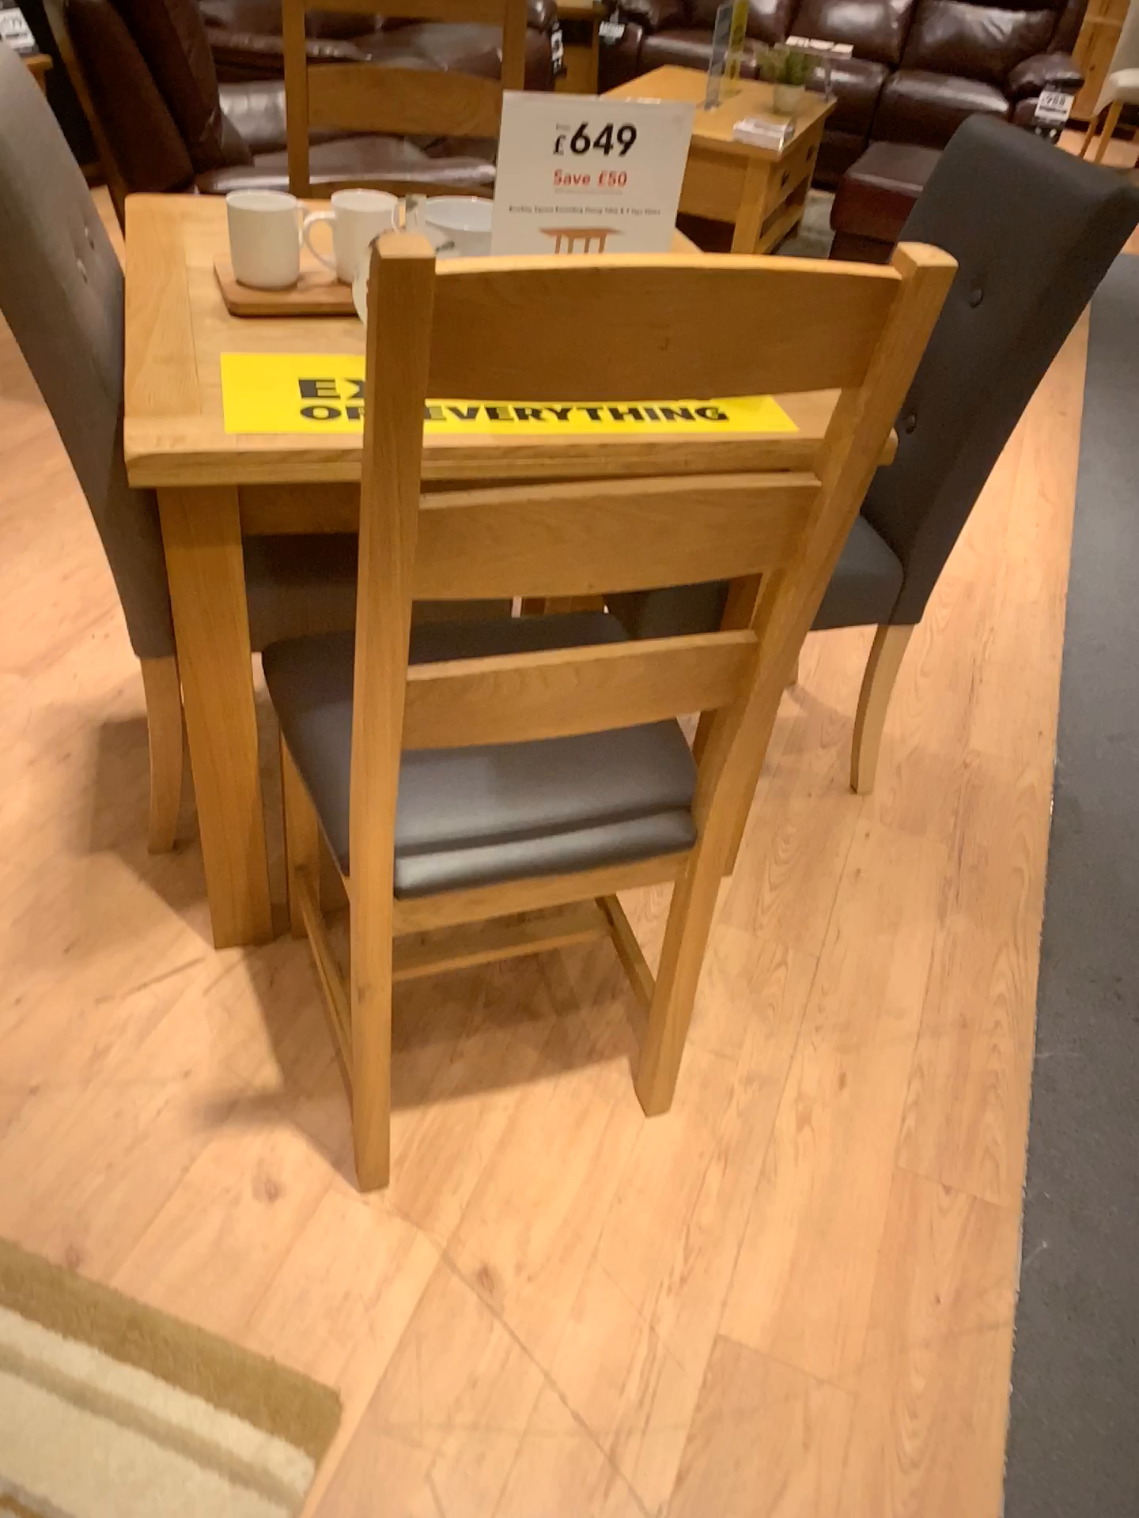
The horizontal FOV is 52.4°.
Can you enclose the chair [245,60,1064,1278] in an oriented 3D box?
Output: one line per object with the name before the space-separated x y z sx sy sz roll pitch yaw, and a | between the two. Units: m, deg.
chair | -0.041 -0.041 1.230 0.471 1.099 0.555 -6 41 -17
